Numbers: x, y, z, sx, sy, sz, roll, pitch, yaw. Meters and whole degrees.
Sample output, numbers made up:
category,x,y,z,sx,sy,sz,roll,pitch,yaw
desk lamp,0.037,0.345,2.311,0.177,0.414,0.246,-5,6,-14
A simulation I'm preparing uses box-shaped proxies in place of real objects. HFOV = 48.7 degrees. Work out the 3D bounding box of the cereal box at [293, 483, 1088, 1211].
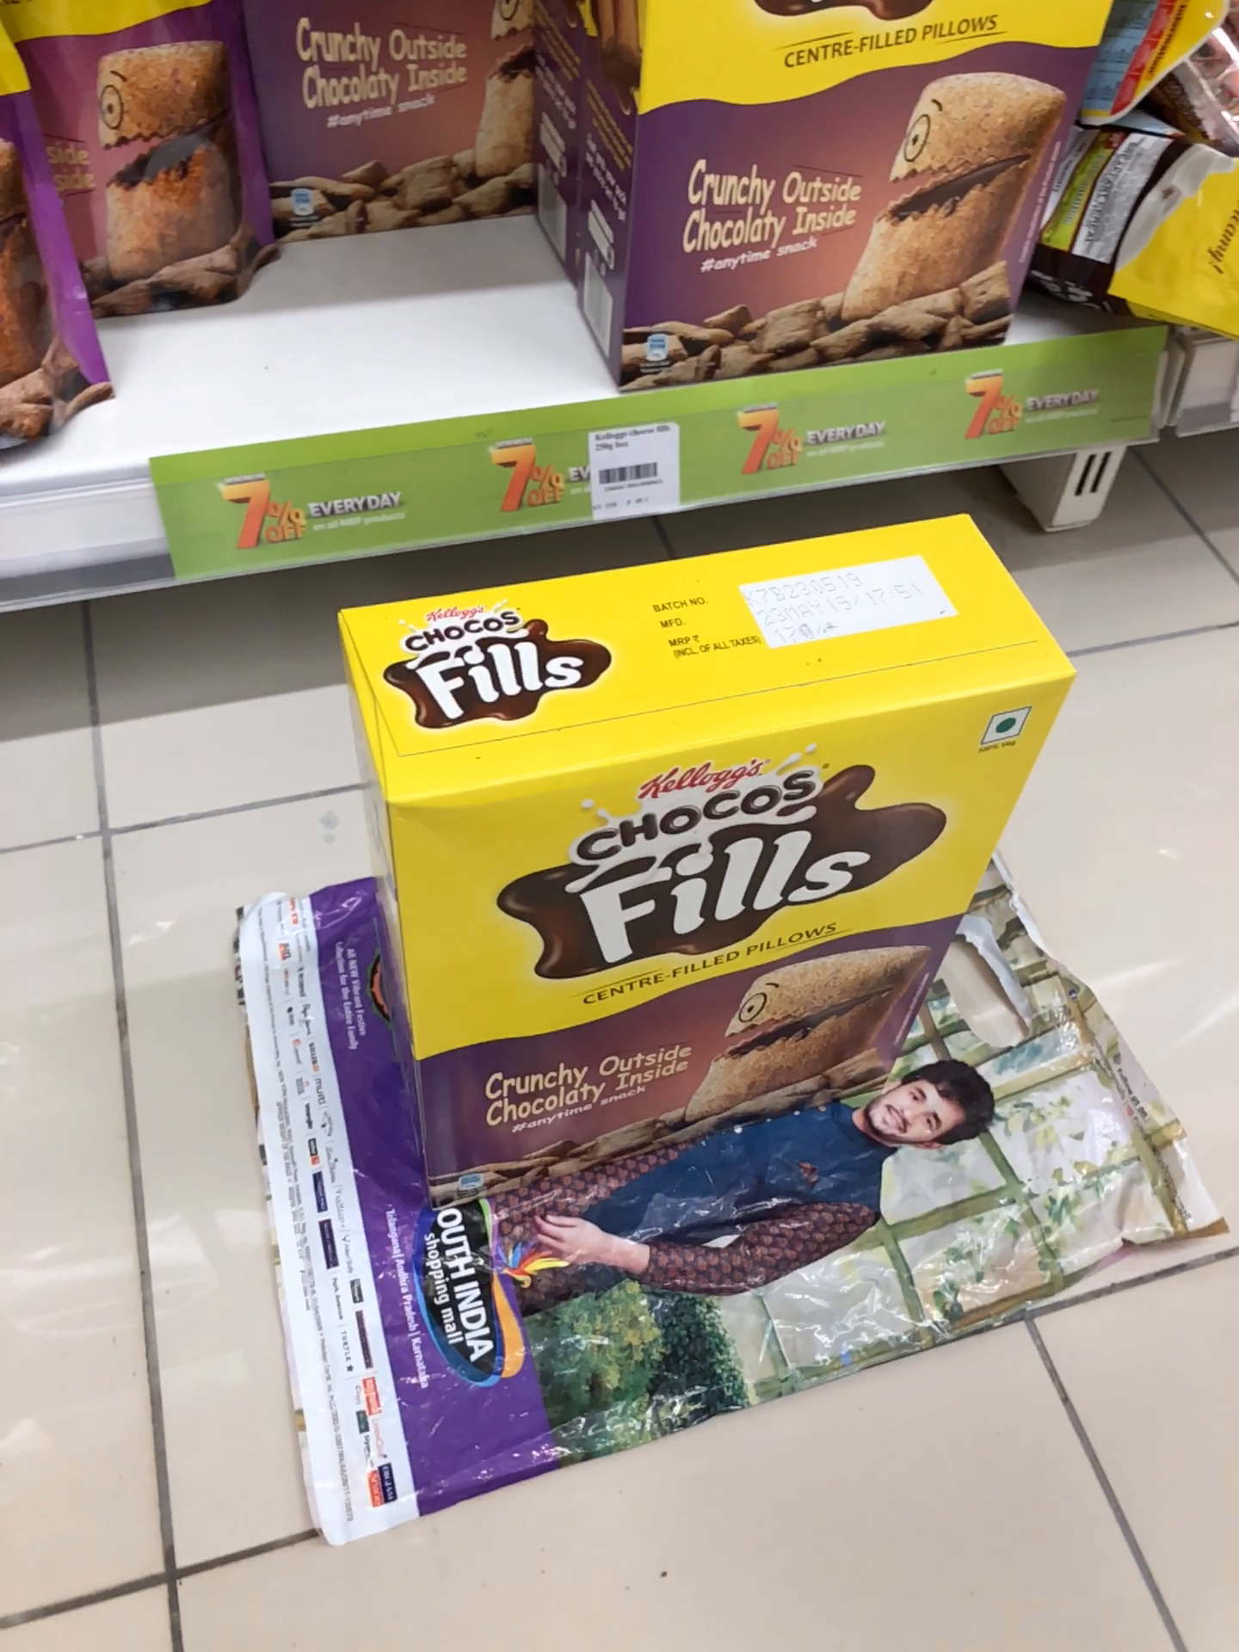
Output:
category,x,y,z,sx,sy,sz,roll,pitch,yaw
cereal box,0.012,0.019,0.437,0.190,0.229,0.070,-13,54,-14
